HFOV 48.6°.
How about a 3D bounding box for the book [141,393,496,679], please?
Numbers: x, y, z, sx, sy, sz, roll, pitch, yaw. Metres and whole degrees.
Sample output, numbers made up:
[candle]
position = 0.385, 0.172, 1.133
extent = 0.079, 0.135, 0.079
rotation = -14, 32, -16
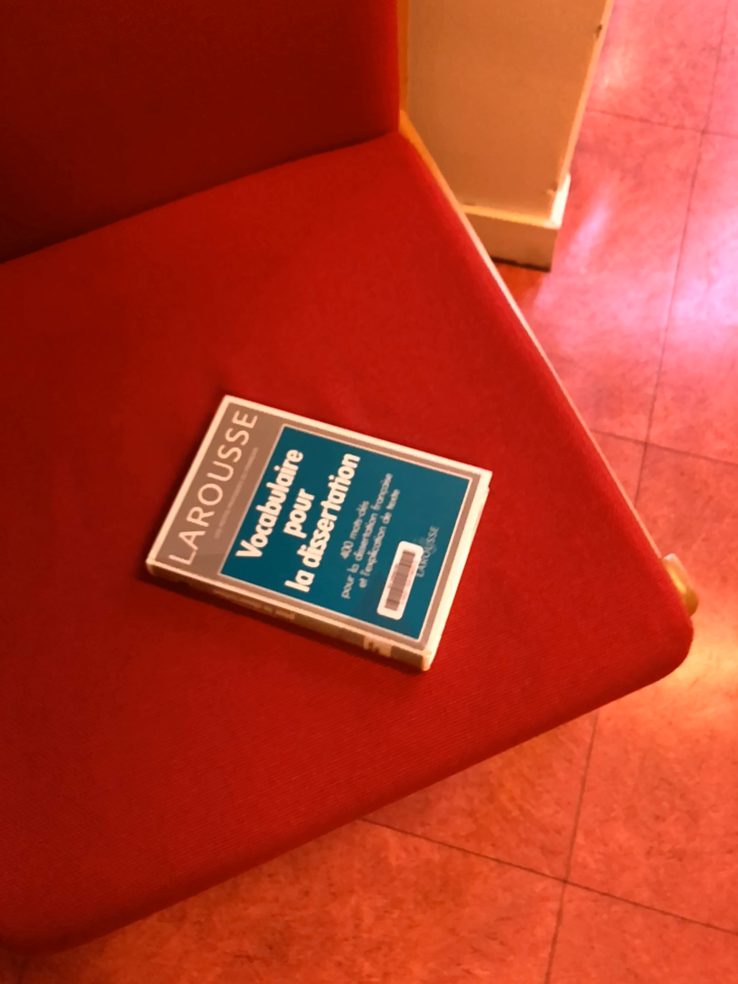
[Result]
[book]
position = -0.031, 0.025, 0.550
extent = 0.198, 0.030, 0.137
rotation = 17, 71, 10
